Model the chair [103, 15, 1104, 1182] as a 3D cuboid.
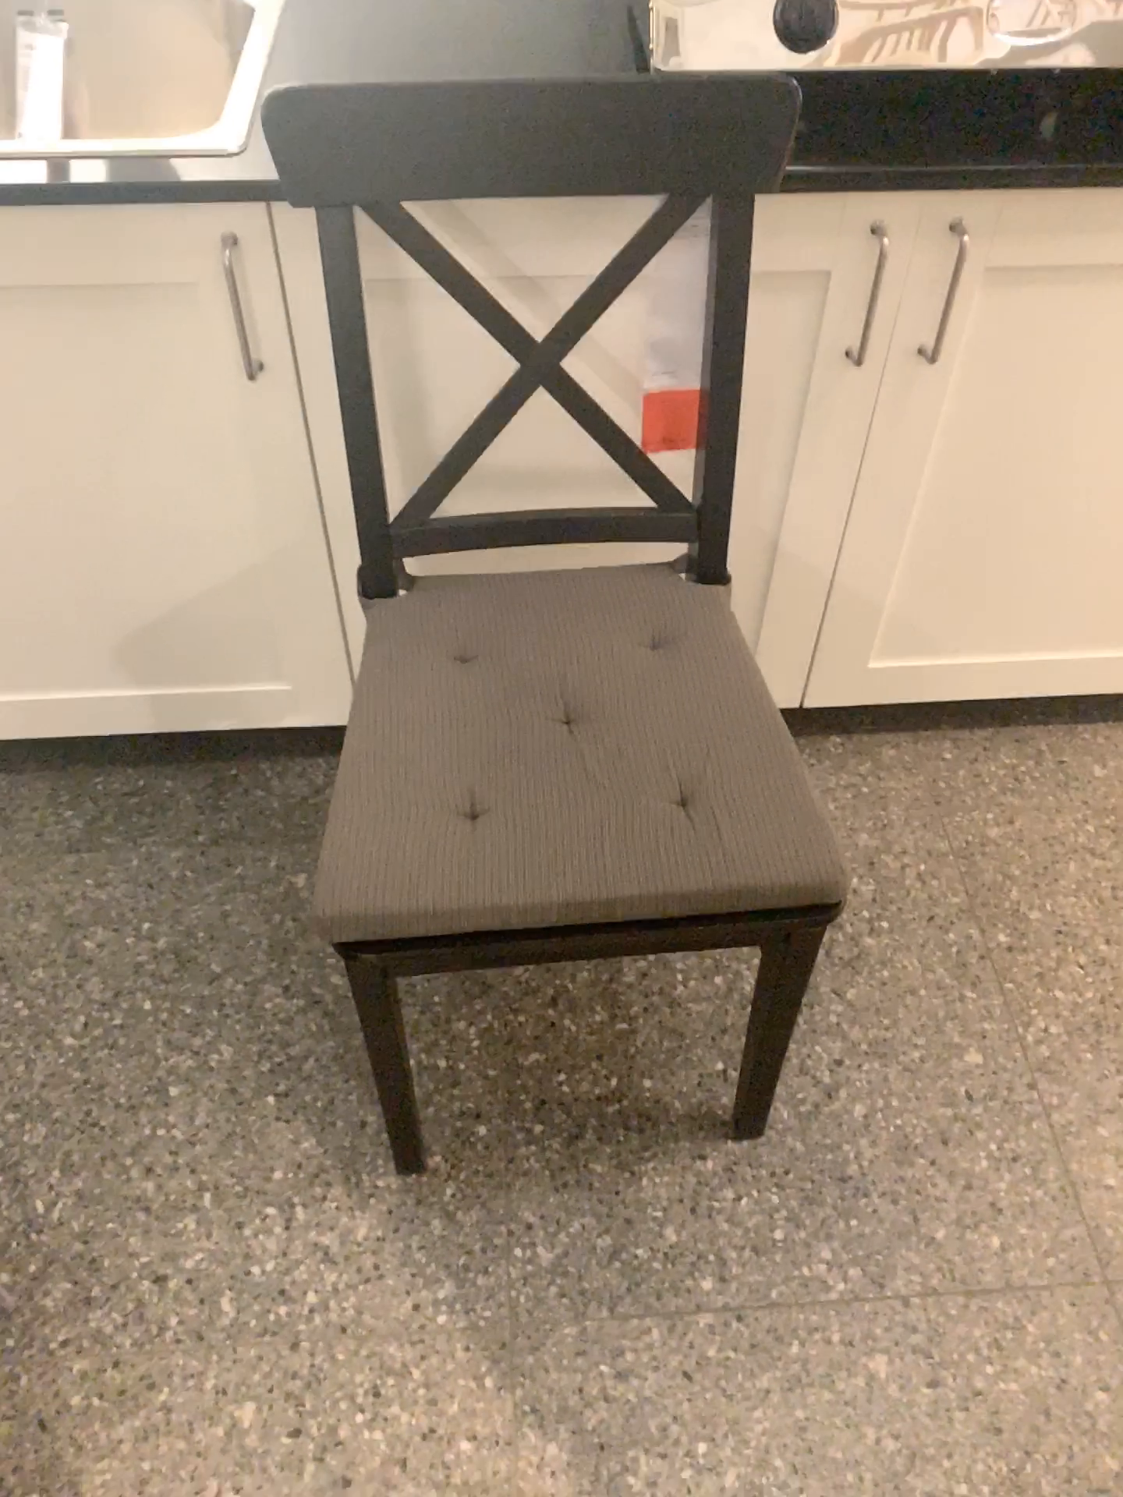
[{"bbox_3d":[-0.007,-0.063,0.932,0.420,0.787,0.492,-4,49,-5],"label":"chair"}]
